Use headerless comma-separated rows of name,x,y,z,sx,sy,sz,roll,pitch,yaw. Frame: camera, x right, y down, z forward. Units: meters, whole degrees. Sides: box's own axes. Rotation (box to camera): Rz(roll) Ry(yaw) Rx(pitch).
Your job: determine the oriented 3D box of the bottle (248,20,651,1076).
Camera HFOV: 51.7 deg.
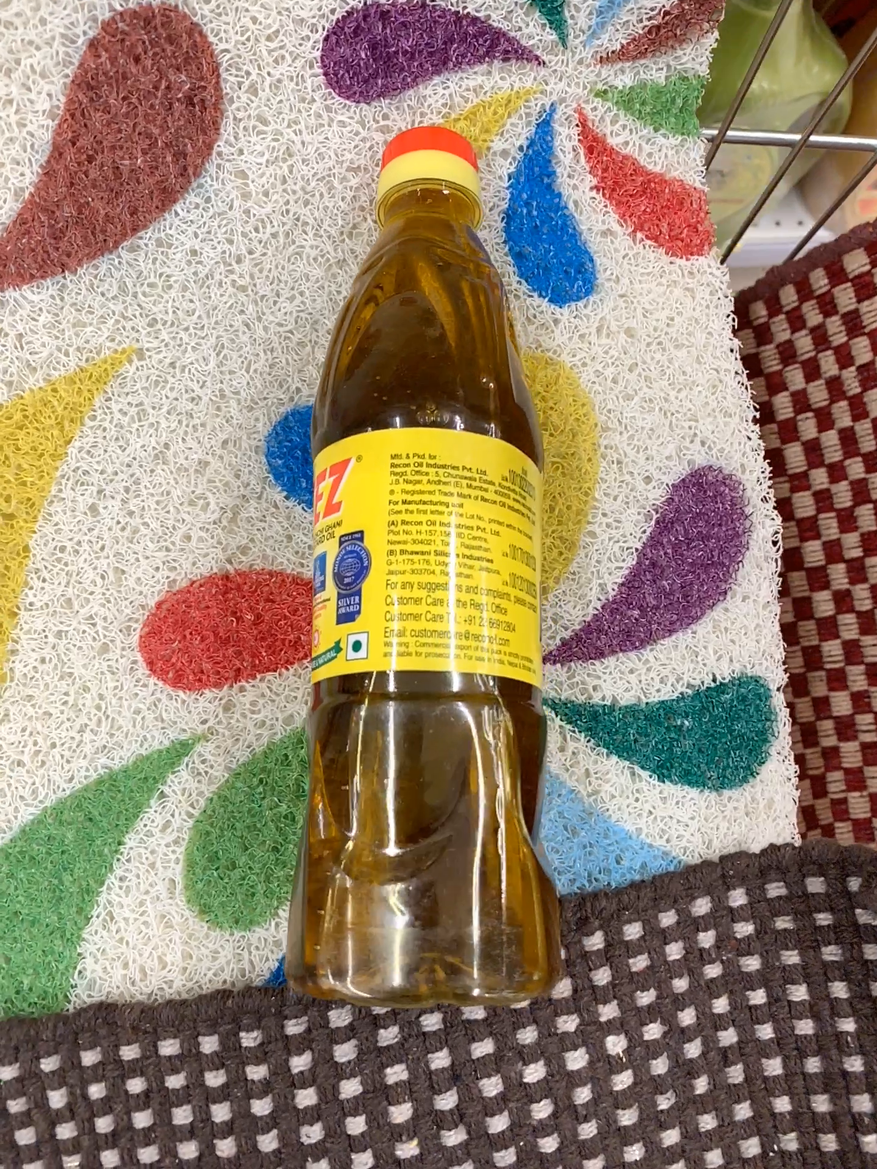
bottle,0.000,-0.009,0.205,0.070,0.060,0.200,4,80,-15
